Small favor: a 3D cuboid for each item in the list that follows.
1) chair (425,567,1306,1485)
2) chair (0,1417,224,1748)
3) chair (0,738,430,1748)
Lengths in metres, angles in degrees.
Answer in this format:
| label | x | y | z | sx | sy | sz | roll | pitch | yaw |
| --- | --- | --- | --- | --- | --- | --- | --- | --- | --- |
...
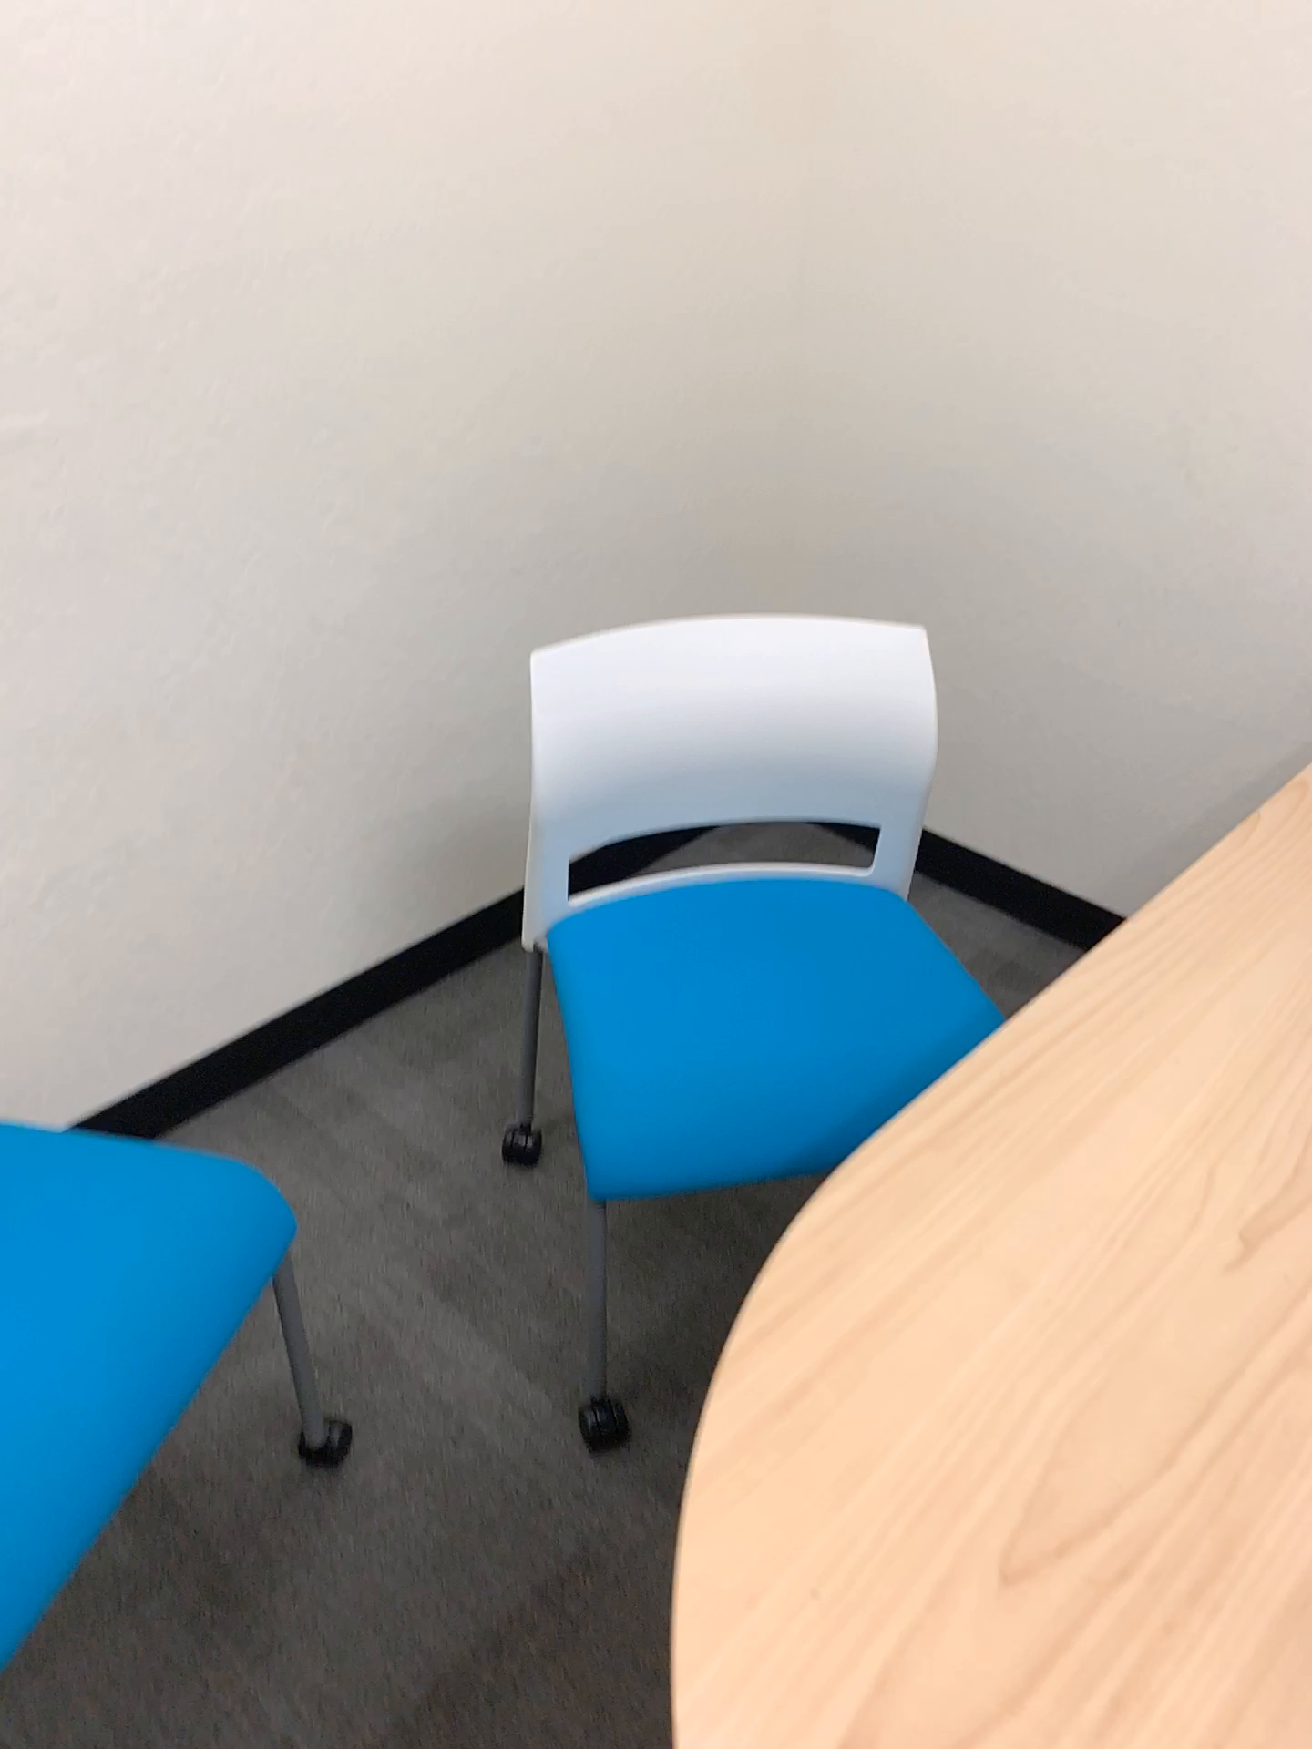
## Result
| label | x | y | z | sx | sy | sz | roll | pitch | yaw |
| --- | --- | --- | --- | --- | --- | --- | --- | --- | --- |
| chair | 0.157 | 0.137 | 1.667 | 0.750 | 0.766 | 0.694 | -7 | 34 | -12 |
| chair | -0.709 | 0.790 | 0.574 | 0.690 | 0.716 | 0.643 | 6 | 33 | 8 |
| chair | -0.685 | 0.411 | 1.179 | 0.691 | 0.756 | 0.643 | 11 | 34 | 15 |
